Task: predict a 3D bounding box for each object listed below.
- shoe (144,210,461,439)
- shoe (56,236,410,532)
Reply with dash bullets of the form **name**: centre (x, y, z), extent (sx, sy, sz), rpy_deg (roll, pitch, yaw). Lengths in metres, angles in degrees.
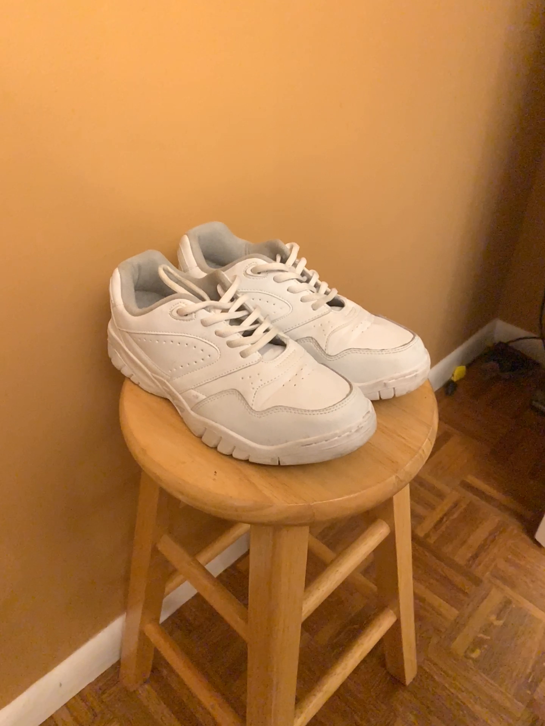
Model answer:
- **shoe**: centre (0.023, -0.052, 0.554), extent (0.270, 0.109, 0.120), rpy_deg (21, 41, 25)
- **shoe**: centre (-0.042, -0.002, 0.488), extent (0.271, 0.109, 0.130), rpy_deg (26, 43, 31)
